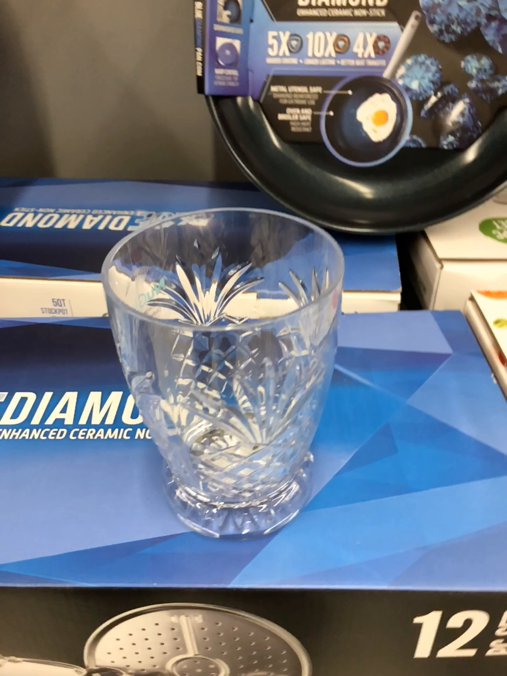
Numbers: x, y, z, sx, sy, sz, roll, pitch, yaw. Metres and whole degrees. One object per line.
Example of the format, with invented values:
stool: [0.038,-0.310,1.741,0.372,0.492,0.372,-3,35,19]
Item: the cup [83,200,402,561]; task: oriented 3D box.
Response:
cup: [-0.004,0.017,0.231,0.092,0.113,0.088,-1,37,1]
